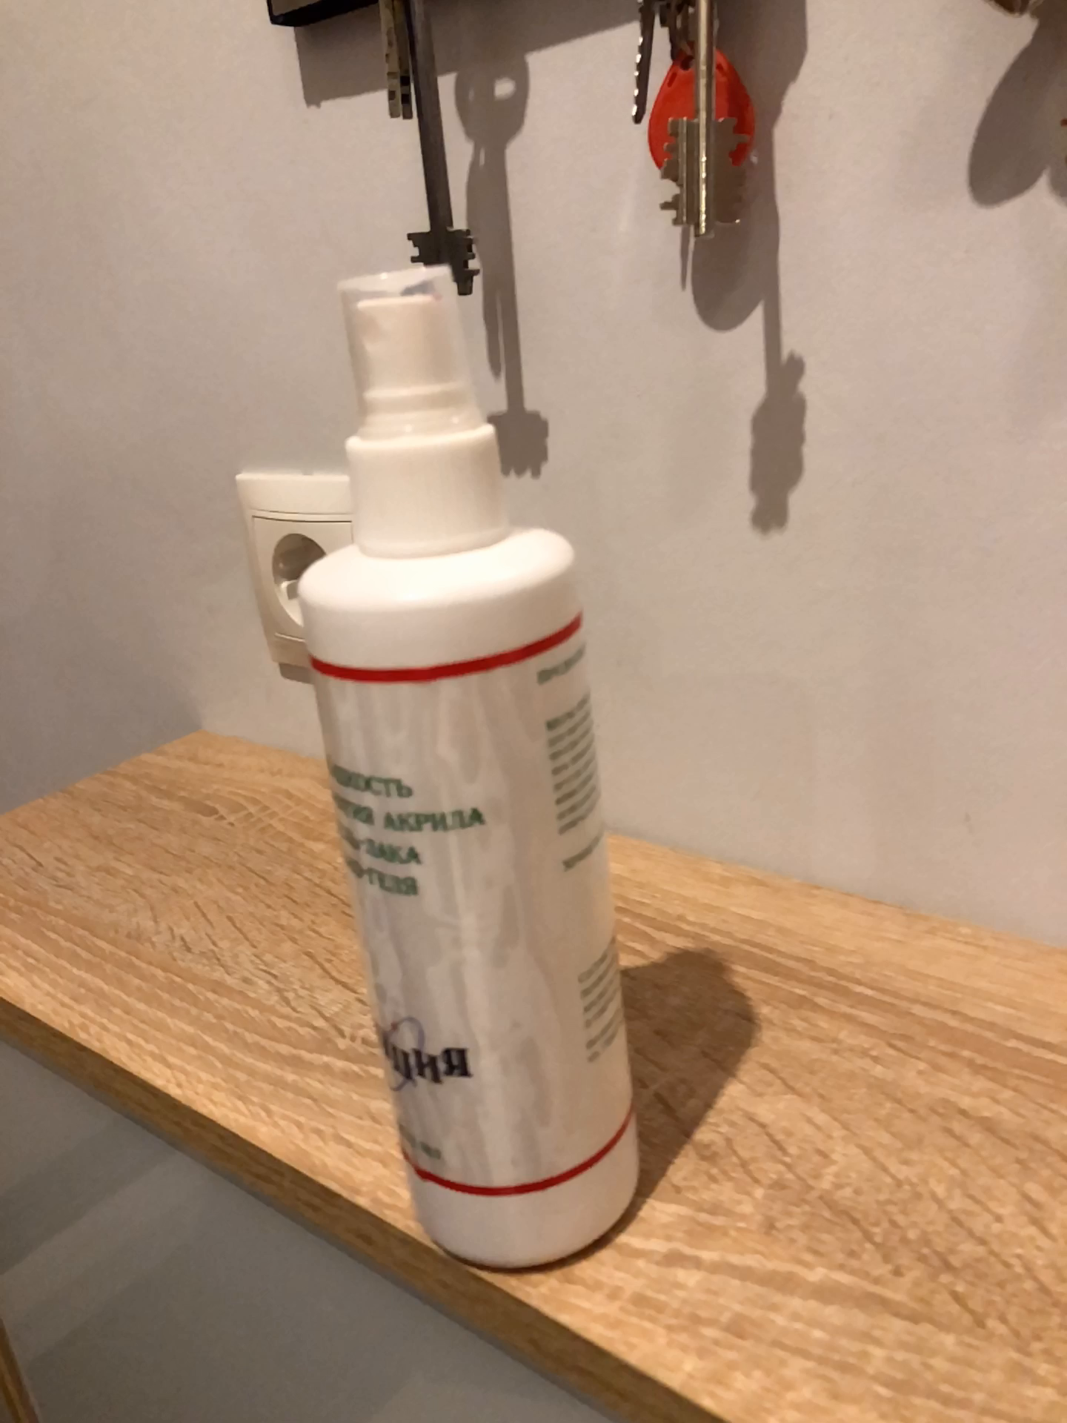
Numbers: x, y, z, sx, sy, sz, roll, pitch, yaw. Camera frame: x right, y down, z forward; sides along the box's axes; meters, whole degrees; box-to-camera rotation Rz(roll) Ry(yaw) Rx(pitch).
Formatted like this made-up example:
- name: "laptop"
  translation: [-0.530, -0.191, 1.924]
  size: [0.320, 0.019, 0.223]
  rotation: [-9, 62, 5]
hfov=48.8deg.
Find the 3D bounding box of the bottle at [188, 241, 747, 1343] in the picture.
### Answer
- name: "bottle"
  translation: [-0.005, 0.014, 0.221]
  size: [0.056, 0.183, 0.059]
  rotation: [-6, 19, 2]
